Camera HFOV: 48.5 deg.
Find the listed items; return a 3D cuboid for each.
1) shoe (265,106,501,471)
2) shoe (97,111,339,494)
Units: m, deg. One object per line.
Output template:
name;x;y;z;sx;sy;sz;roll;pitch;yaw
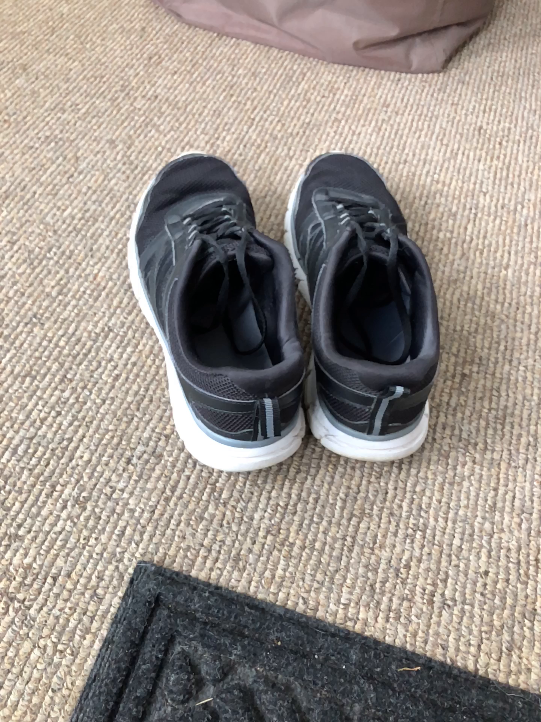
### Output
shoe;0.065;-0.065;0.471;0.120;0.110;0.277;2;55;-6
shoe;-0.054;-0.059;0.450;0.118;0.100;0.276;-7;56;-12
